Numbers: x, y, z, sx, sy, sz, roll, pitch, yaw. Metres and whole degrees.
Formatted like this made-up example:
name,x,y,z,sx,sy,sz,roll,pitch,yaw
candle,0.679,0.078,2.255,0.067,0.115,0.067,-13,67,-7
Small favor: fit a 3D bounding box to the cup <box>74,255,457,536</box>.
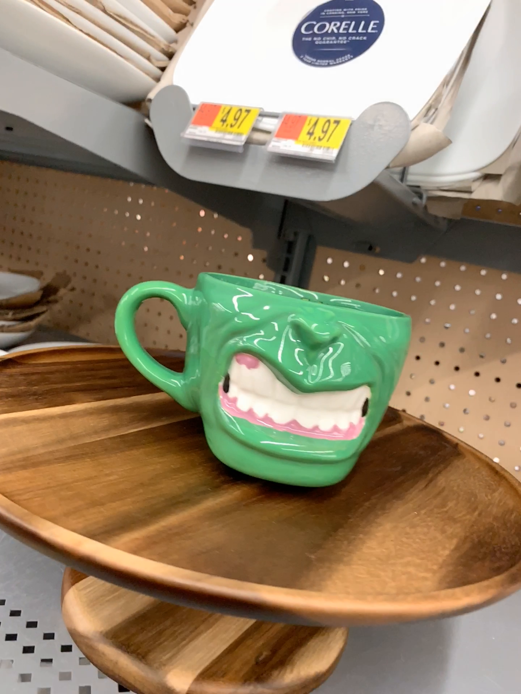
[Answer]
name,x,y,z,sx,sy,sz,roll,pitch,yaw
cup,-0.001,0.012,0.284,0.140,0.090,0.130,11,10,-2
